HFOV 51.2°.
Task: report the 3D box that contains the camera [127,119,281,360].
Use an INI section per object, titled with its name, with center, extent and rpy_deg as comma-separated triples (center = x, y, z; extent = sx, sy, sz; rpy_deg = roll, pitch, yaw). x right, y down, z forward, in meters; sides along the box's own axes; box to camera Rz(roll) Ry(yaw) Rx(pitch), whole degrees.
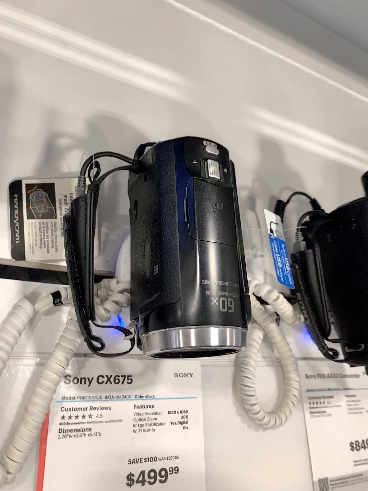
[camera]
center = 0.005, 0.002, 0.212
extent = 0.053, 0.060, 0.113
rpy_deg = 9, 66, -29
